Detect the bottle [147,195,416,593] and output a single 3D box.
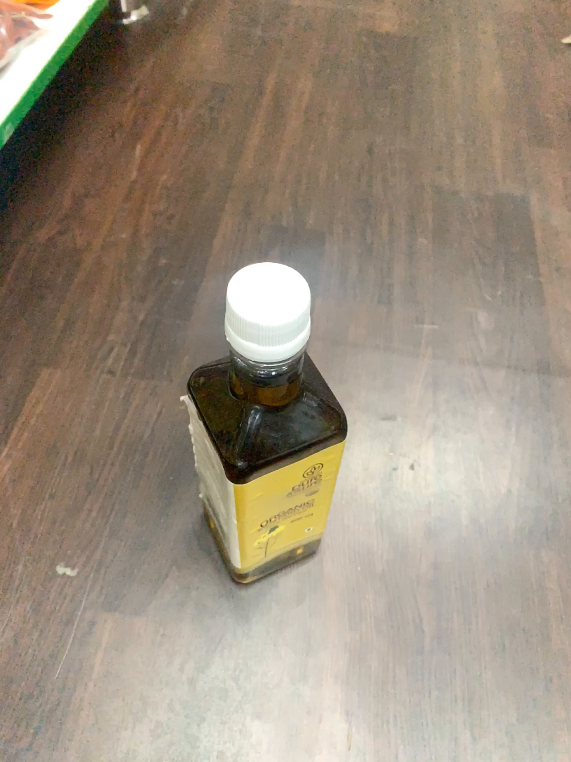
[{"bbox_3d":[-0.007,0.026,0.281,0.070,0.209,0.060,-21,58,-18],"label":"bottle"}]
